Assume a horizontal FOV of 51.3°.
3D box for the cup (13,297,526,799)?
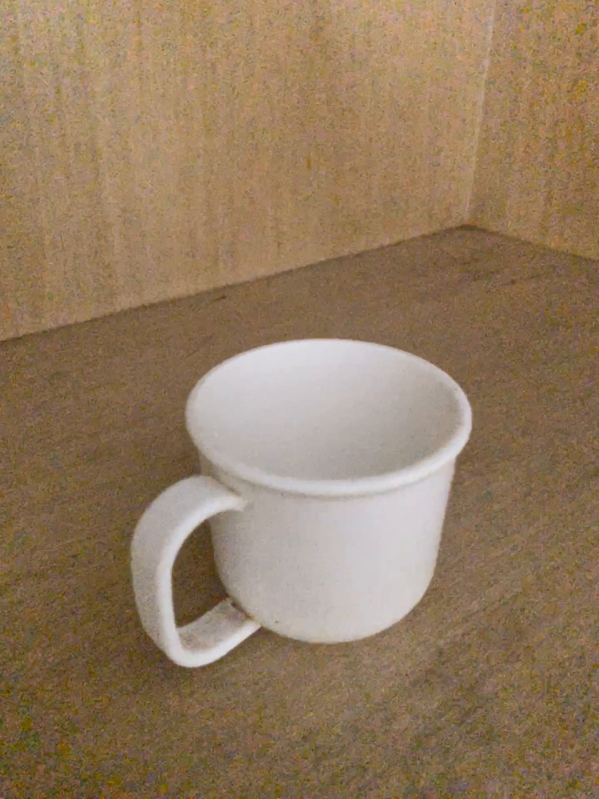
[{"bbox_3d":[-0.004,0.028,0.181,0.080,0.069,0.110,26,39,37],"label":"cup"}]
